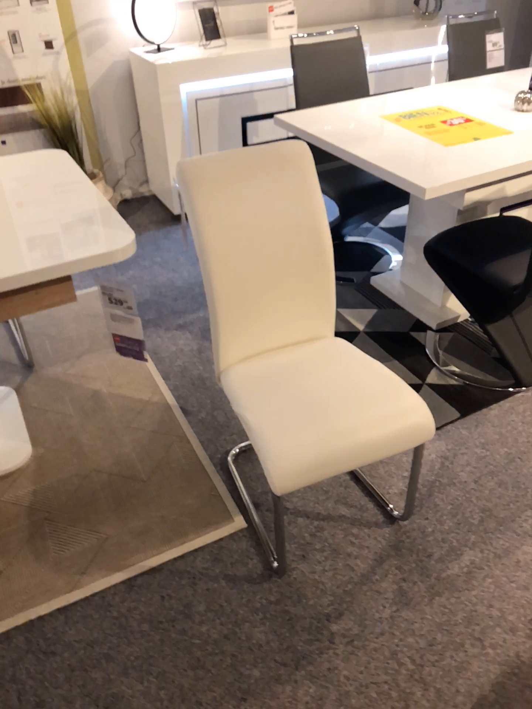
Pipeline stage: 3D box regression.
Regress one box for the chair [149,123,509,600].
[{"bbox_3d":[0.107,0.010,1.445,0.501,0.925,0.551,-18,39,-21],"label":"chair"}]
